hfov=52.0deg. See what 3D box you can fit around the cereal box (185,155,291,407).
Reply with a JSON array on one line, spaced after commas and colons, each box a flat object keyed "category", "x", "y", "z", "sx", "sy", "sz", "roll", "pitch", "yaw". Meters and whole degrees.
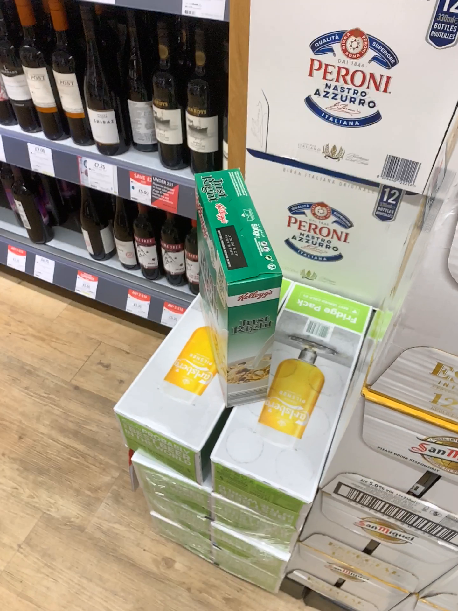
[{"category": "cereal box", "x": 0.002, "y": -0.024, "z": 0.581, "sx": 0.070, "sy": 0.238, "sz": 0.192, "roll": -9, "pitch": 49, "yaw": -8}]
